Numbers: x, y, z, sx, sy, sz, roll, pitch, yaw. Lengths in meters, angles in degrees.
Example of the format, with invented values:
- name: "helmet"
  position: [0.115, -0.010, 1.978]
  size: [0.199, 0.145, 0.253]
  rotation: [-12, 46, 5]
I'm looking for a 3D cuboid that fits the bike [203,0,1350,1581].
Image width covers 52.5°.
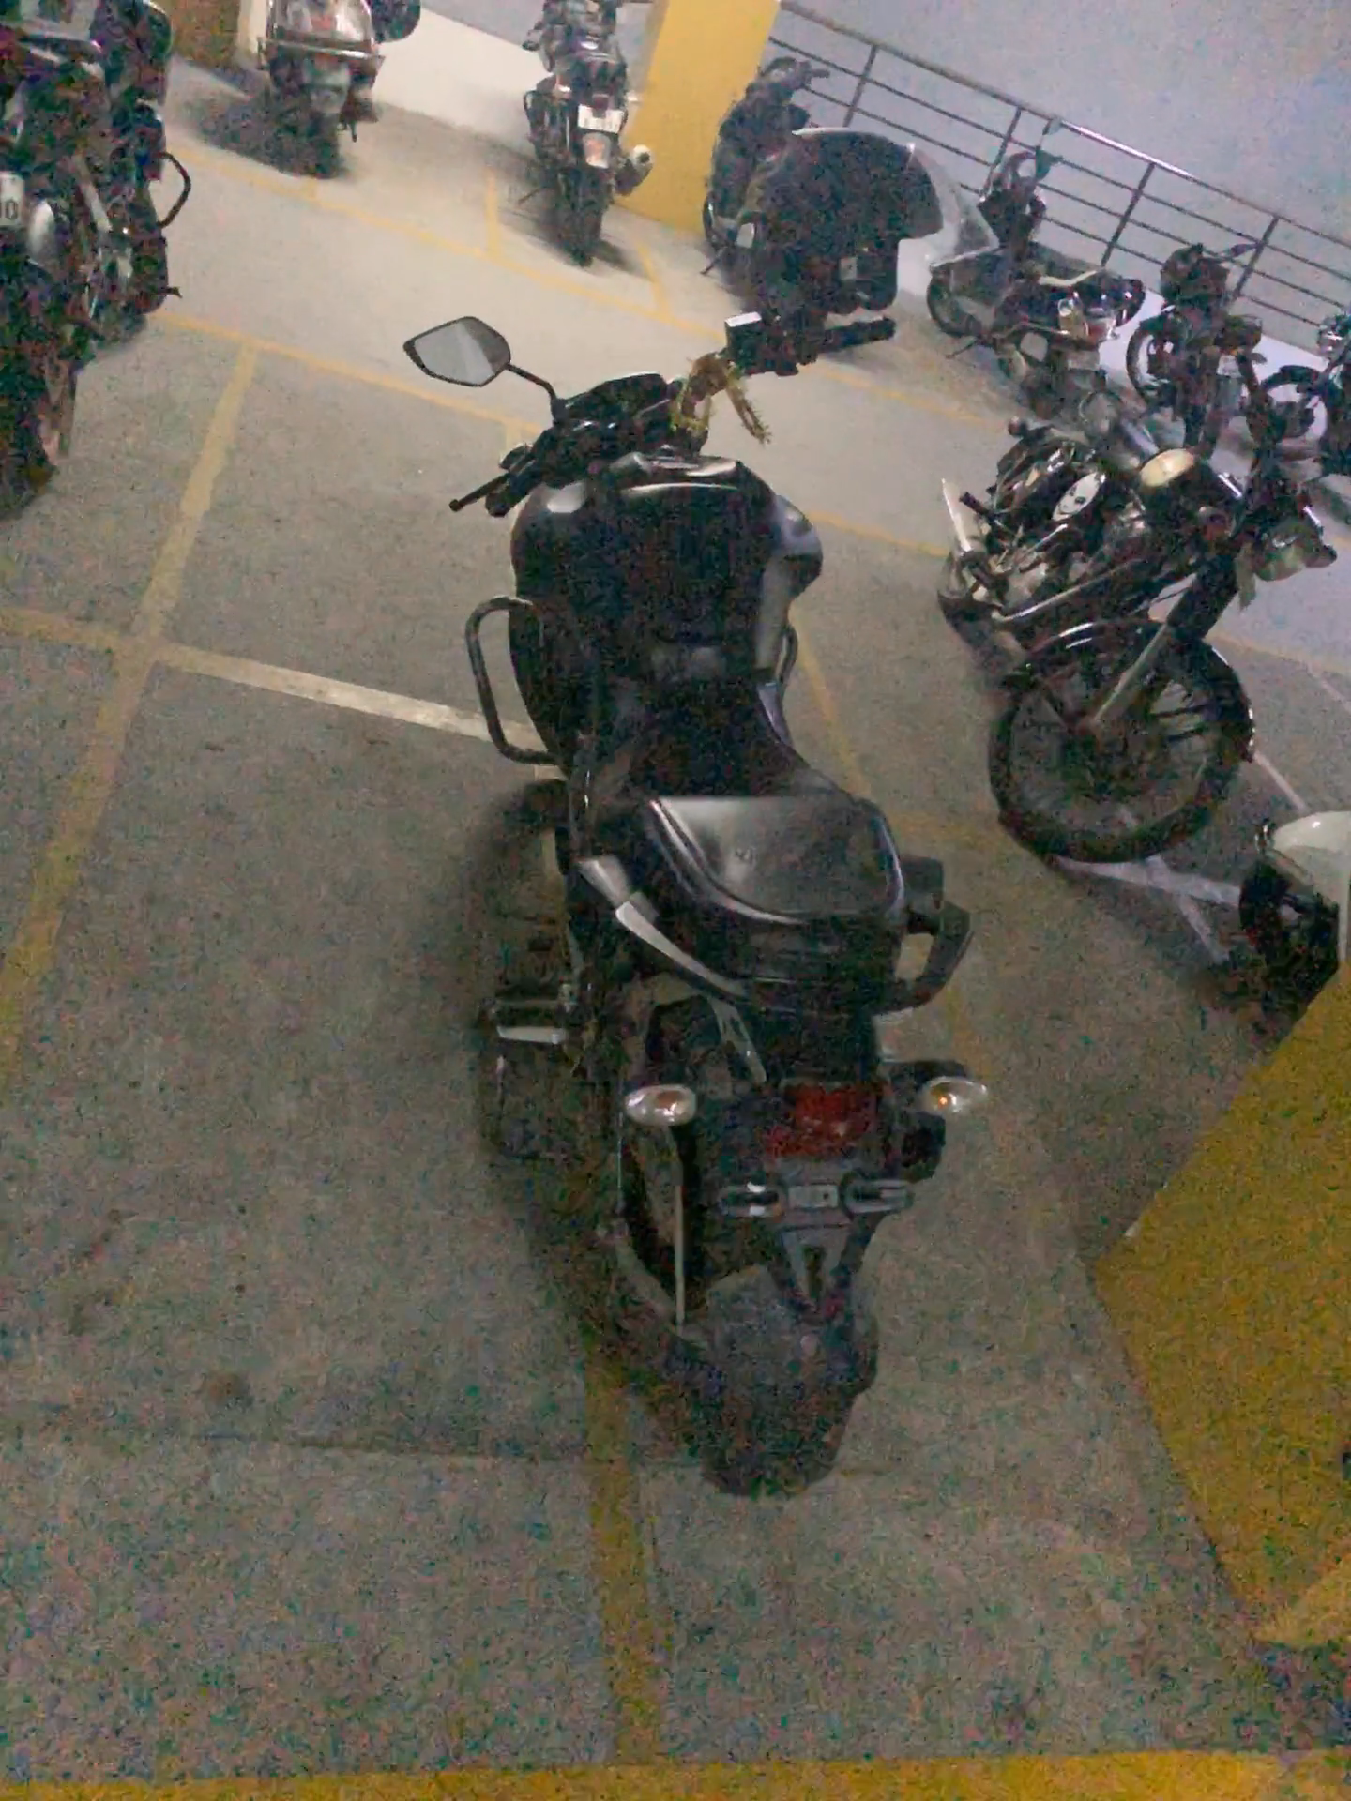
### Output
- name: "bike"
  position: [-0.116, -0.269, 1.831]
  size: [0.787, 1.097, 1.741]
  rotation: [6, 40, -25]
